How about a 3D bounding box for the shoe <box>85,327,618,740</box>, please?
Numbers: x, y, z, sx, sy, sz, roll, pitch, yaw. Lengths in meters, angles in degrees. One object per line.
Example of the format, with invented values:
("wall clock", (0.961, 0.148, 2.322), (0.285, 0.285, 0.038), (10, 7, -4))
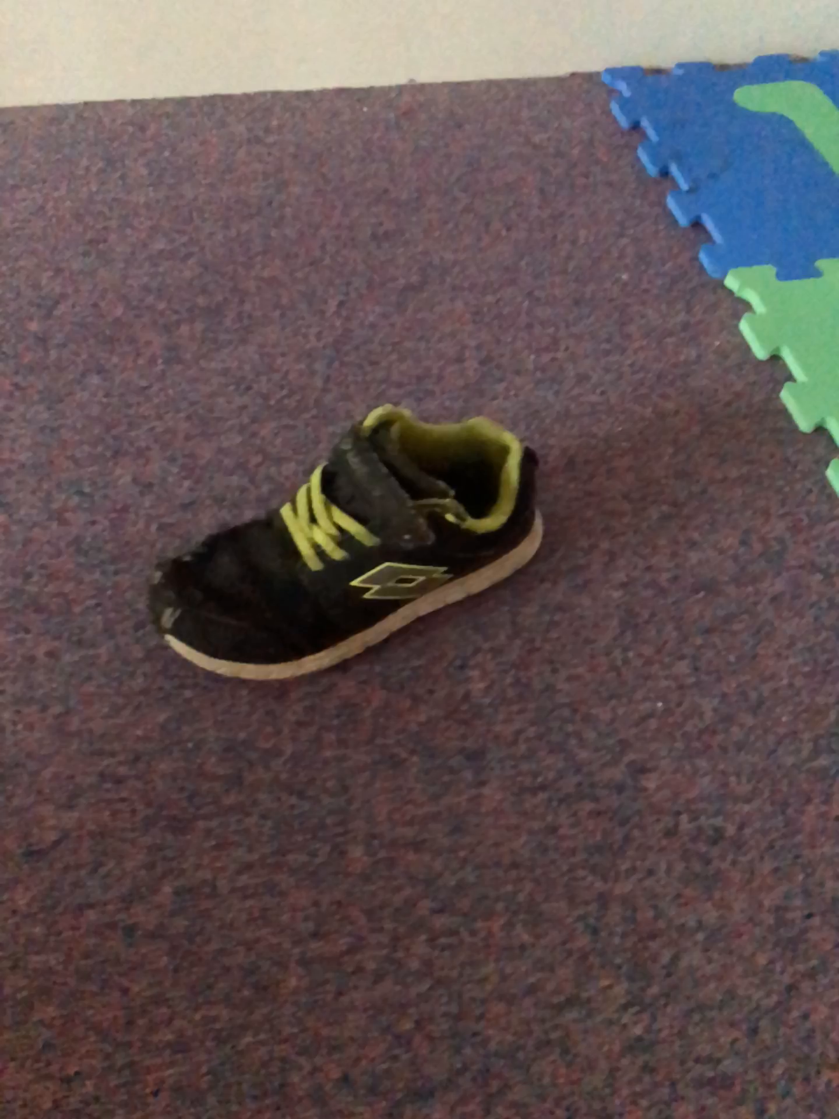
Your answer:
("shoe", (-0.029, -0.016, 0.452), (0.221, 0.100, 0.090), (-22, 60, -19))
